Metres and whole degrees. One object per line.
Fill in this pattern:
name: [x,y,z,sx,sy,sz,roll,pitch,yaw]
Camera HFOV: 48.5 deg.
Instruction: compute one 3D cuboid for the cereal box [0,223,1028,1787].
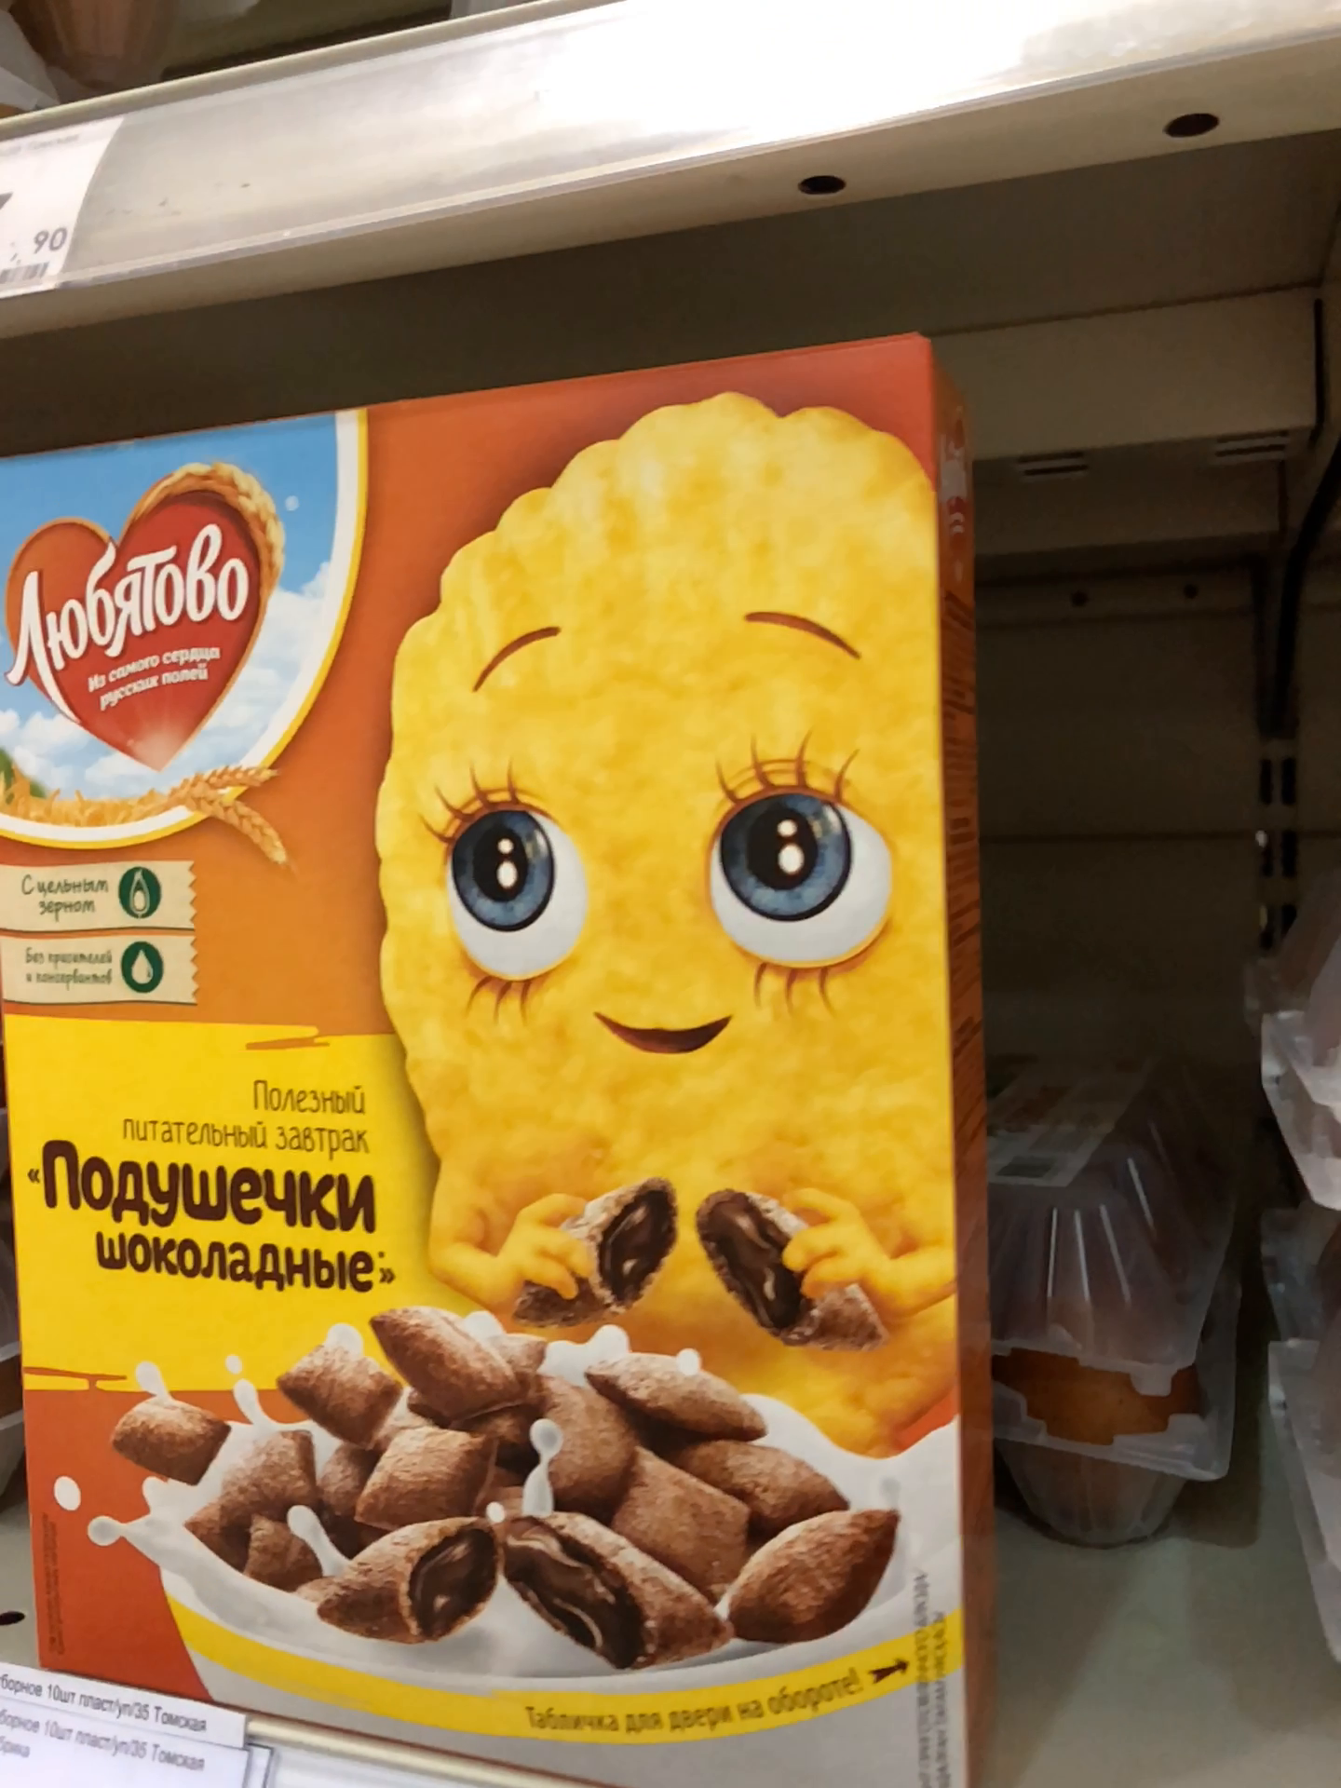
cereal box: [-0.033,0.025,0.262,0.180,0.240,0.040,0,3,19]
